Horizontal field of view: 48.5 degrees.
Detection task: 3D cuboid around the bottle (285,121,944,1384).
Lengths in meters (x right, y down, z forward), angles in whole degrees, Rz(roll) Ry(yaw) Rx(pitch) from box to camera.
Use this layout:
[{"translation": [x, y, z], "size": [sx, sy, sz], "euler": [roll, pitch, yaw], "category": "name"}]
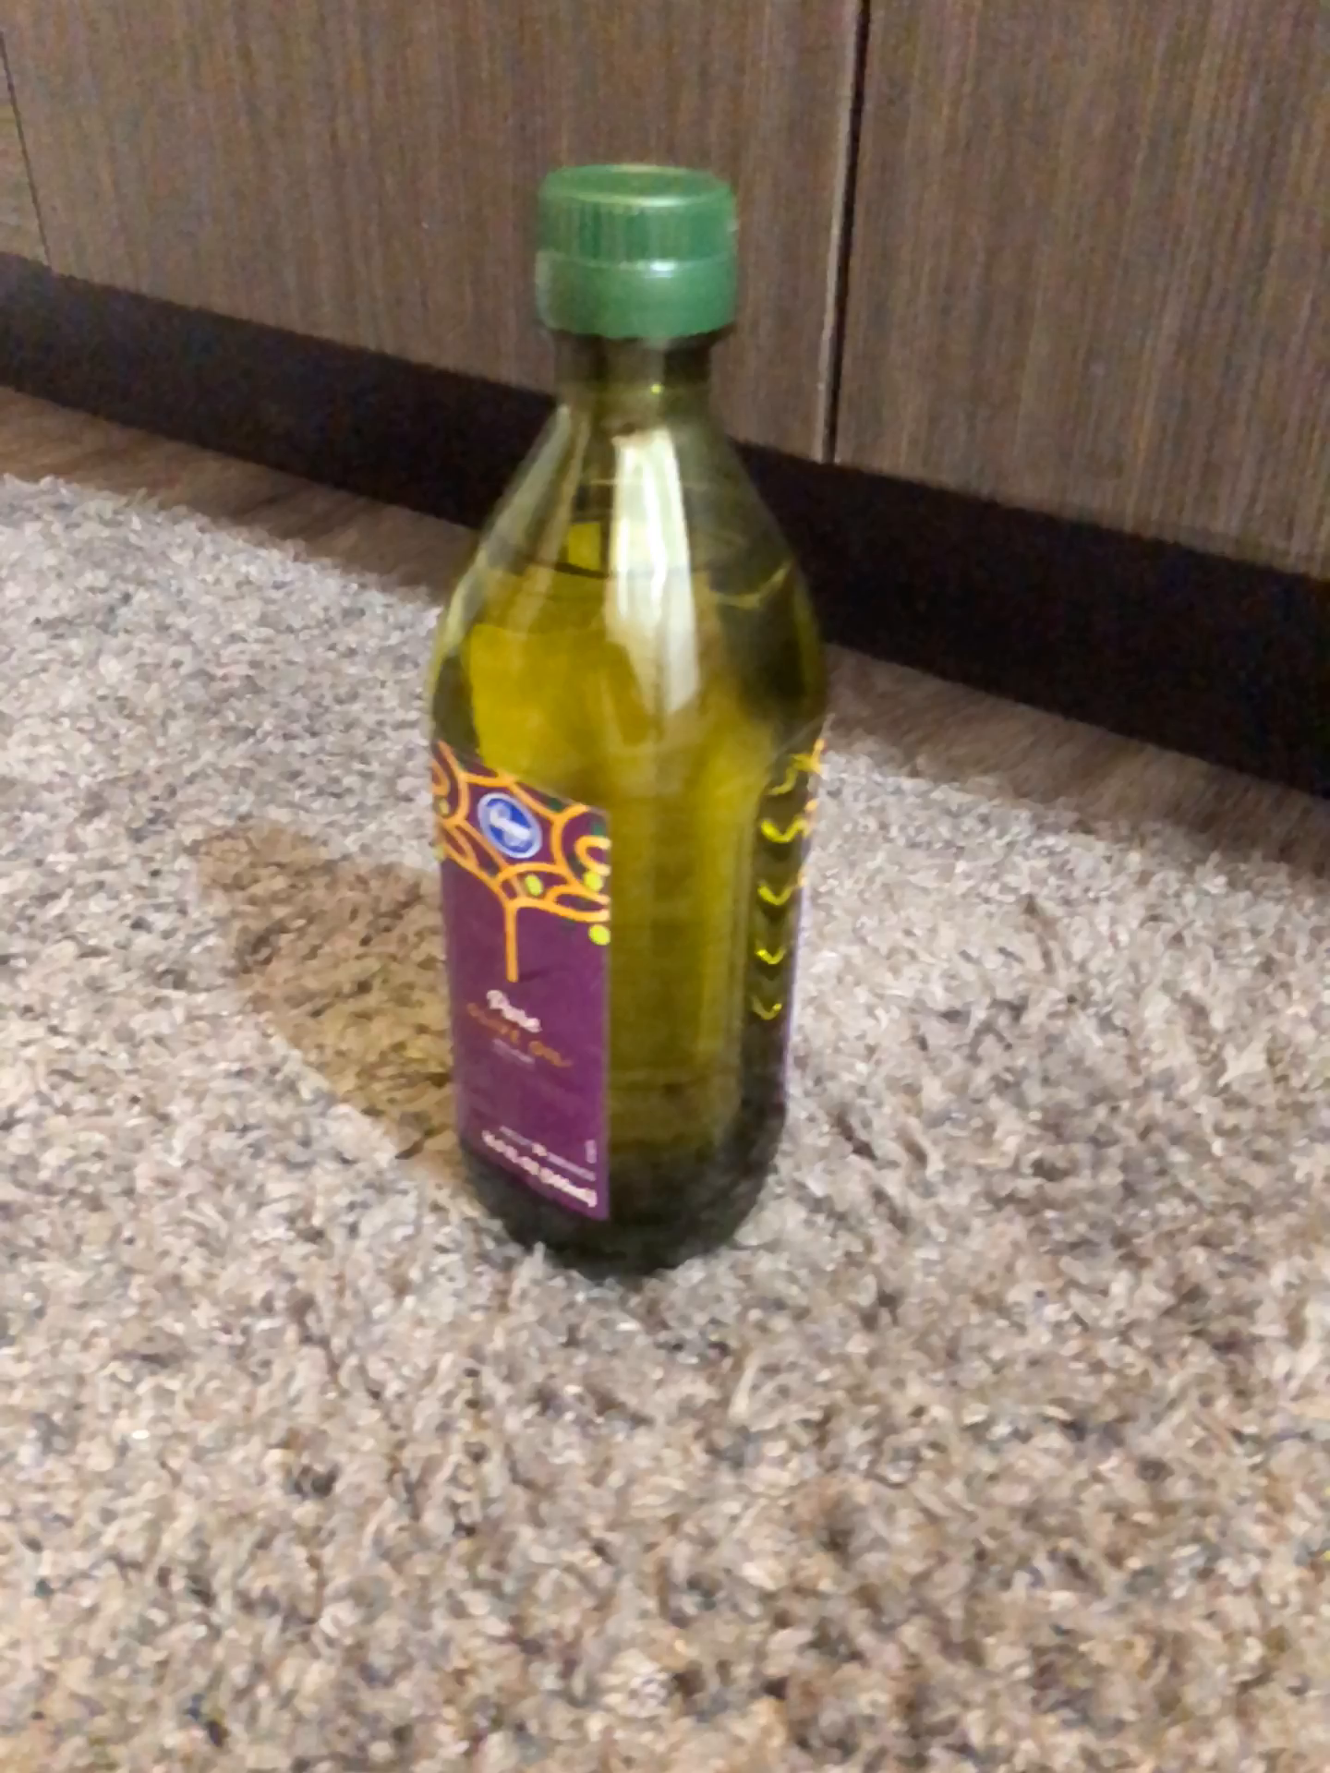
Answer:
[{"translation": [-0.008, -0.014, 0.267], "size": [0.070, 0.209, 0.060], "euler": [29, 44, 34], "category": "bottle"}]
